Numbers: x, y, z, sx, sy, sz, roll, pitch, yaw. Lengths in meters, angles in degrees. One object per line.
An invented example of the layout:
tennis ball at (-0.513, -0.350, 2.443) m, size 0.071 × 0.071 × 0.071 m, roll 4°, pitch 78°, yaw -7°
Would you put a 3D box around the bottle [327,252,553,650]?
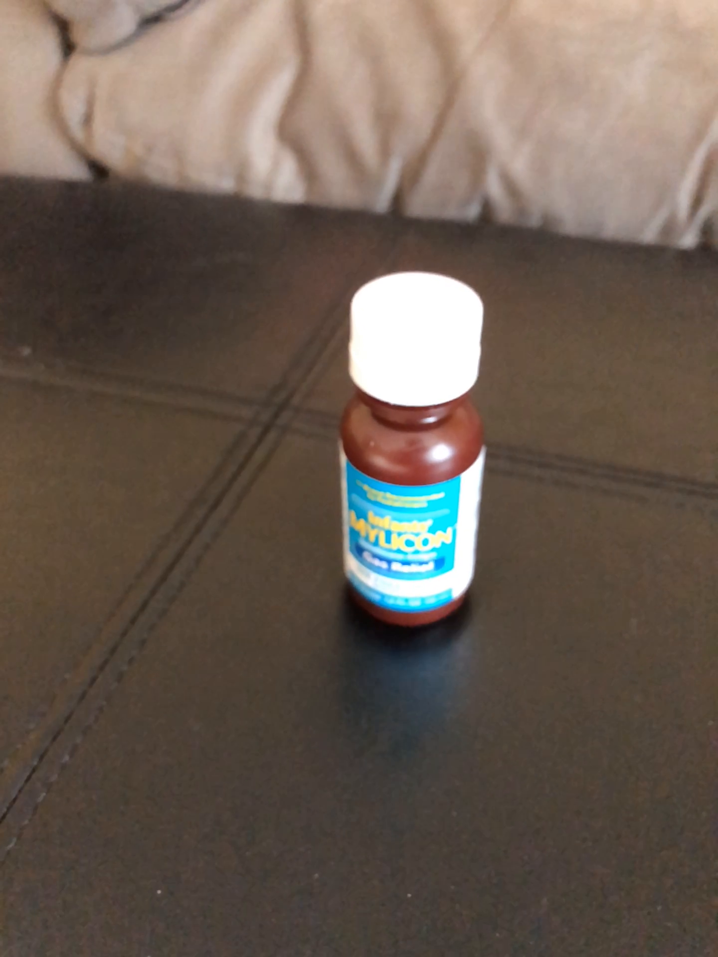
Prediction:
bottle at (0.019, -0.004, 0.188) m, size 0.040 × 0.080 × 0.040 m, roll -2°, pitch 40°, yaw 1°
